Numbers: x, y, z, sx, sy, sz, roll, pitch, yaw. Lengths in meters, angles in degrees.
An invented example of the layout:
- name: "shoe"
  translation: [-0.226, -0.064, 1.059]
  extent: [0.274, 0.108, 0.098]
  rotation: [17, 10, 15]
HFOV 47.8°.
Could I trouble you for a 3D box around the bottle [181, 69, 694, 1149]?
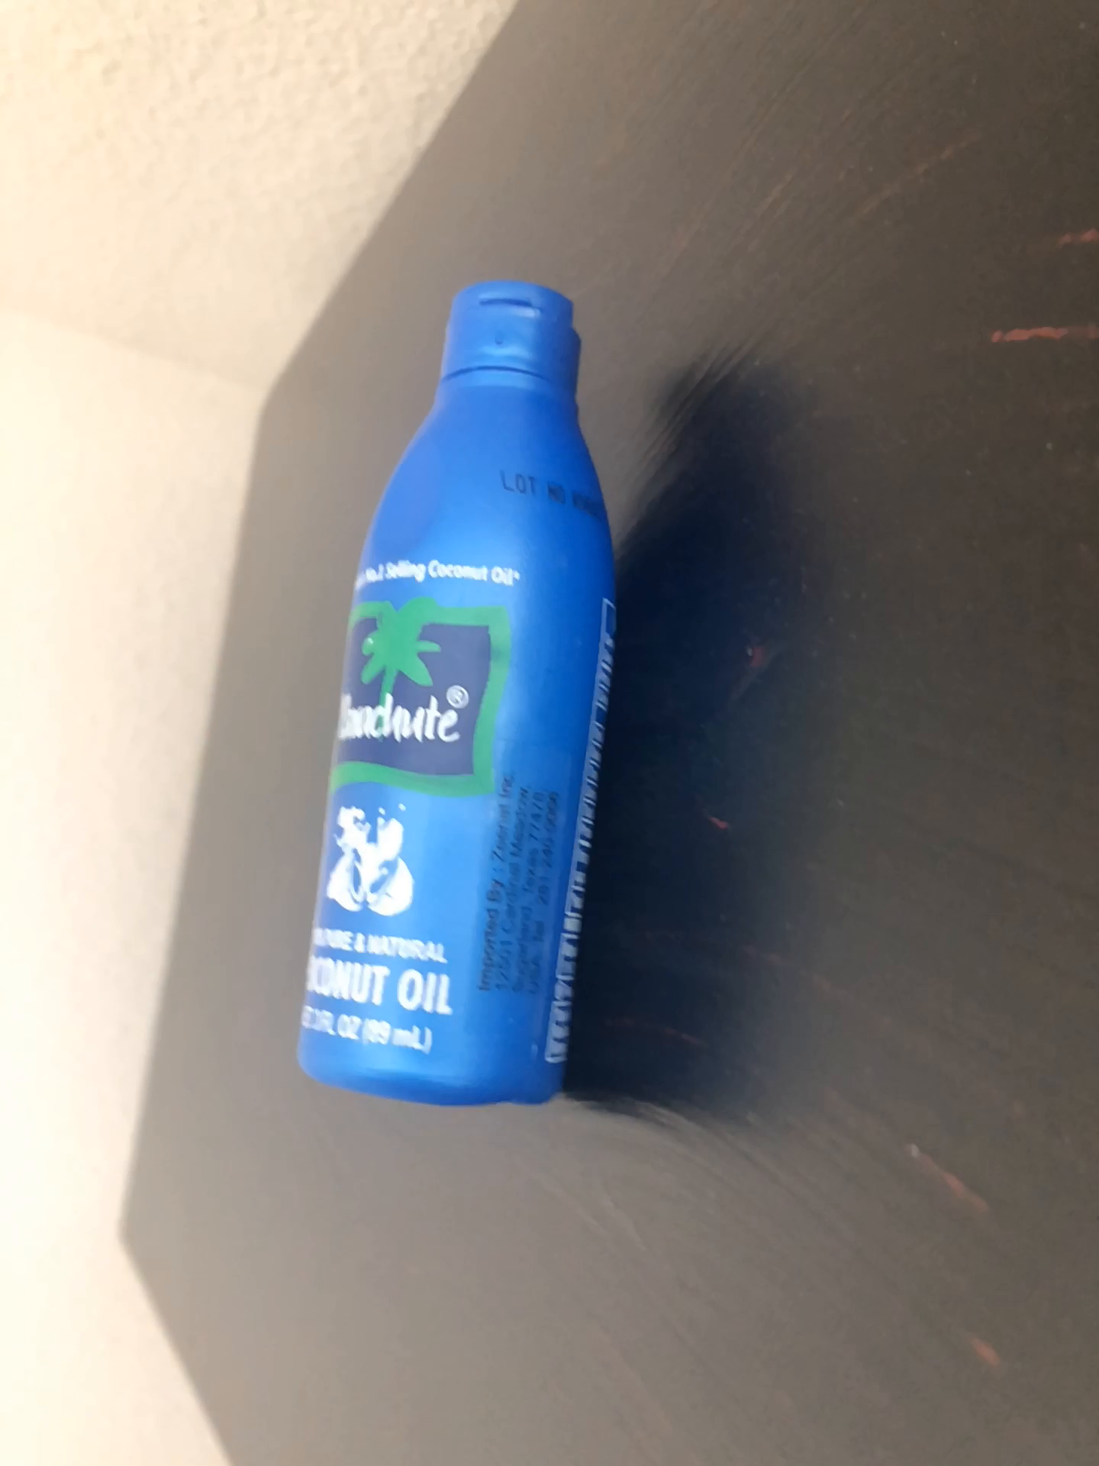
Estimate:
- name: "bottle"
  translation: [-0.013, -0.016, 0.182]
  extent: [0.040, 0.040, 0.140]
  rotation: [0, 78, 36]
